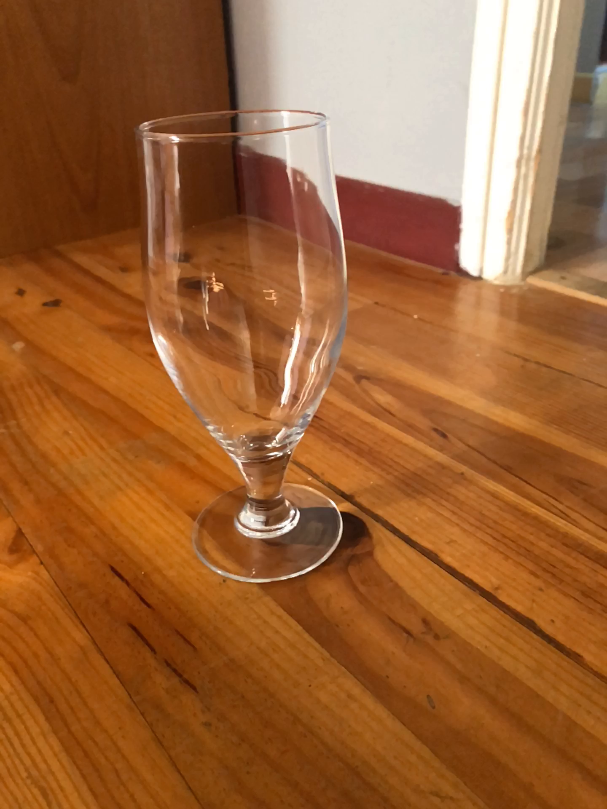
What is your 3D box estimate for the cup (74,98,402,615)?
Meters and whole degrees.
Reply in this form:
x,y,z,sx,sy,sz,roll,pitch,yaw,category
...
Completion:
x,y,z,sx,sy,sz,roll,pitch,yaw,category
-0.021,-0.022,0.282,0.083,0.183,0.081,-1,30,1,cup
